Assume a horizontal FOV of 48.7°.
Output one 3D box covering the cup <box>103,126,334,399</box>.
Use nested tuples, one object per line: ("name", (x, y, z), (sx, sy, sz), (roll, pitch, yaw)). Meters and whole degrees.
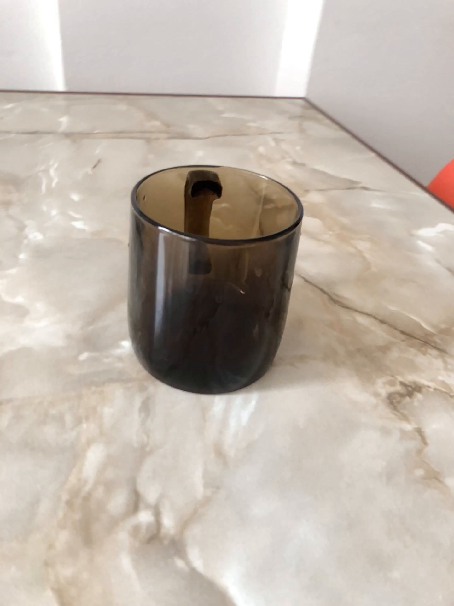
("cup", (-0.012, -0.026, 0.270), (0.090, 0.090, 0.123), (2, 37, -8))
